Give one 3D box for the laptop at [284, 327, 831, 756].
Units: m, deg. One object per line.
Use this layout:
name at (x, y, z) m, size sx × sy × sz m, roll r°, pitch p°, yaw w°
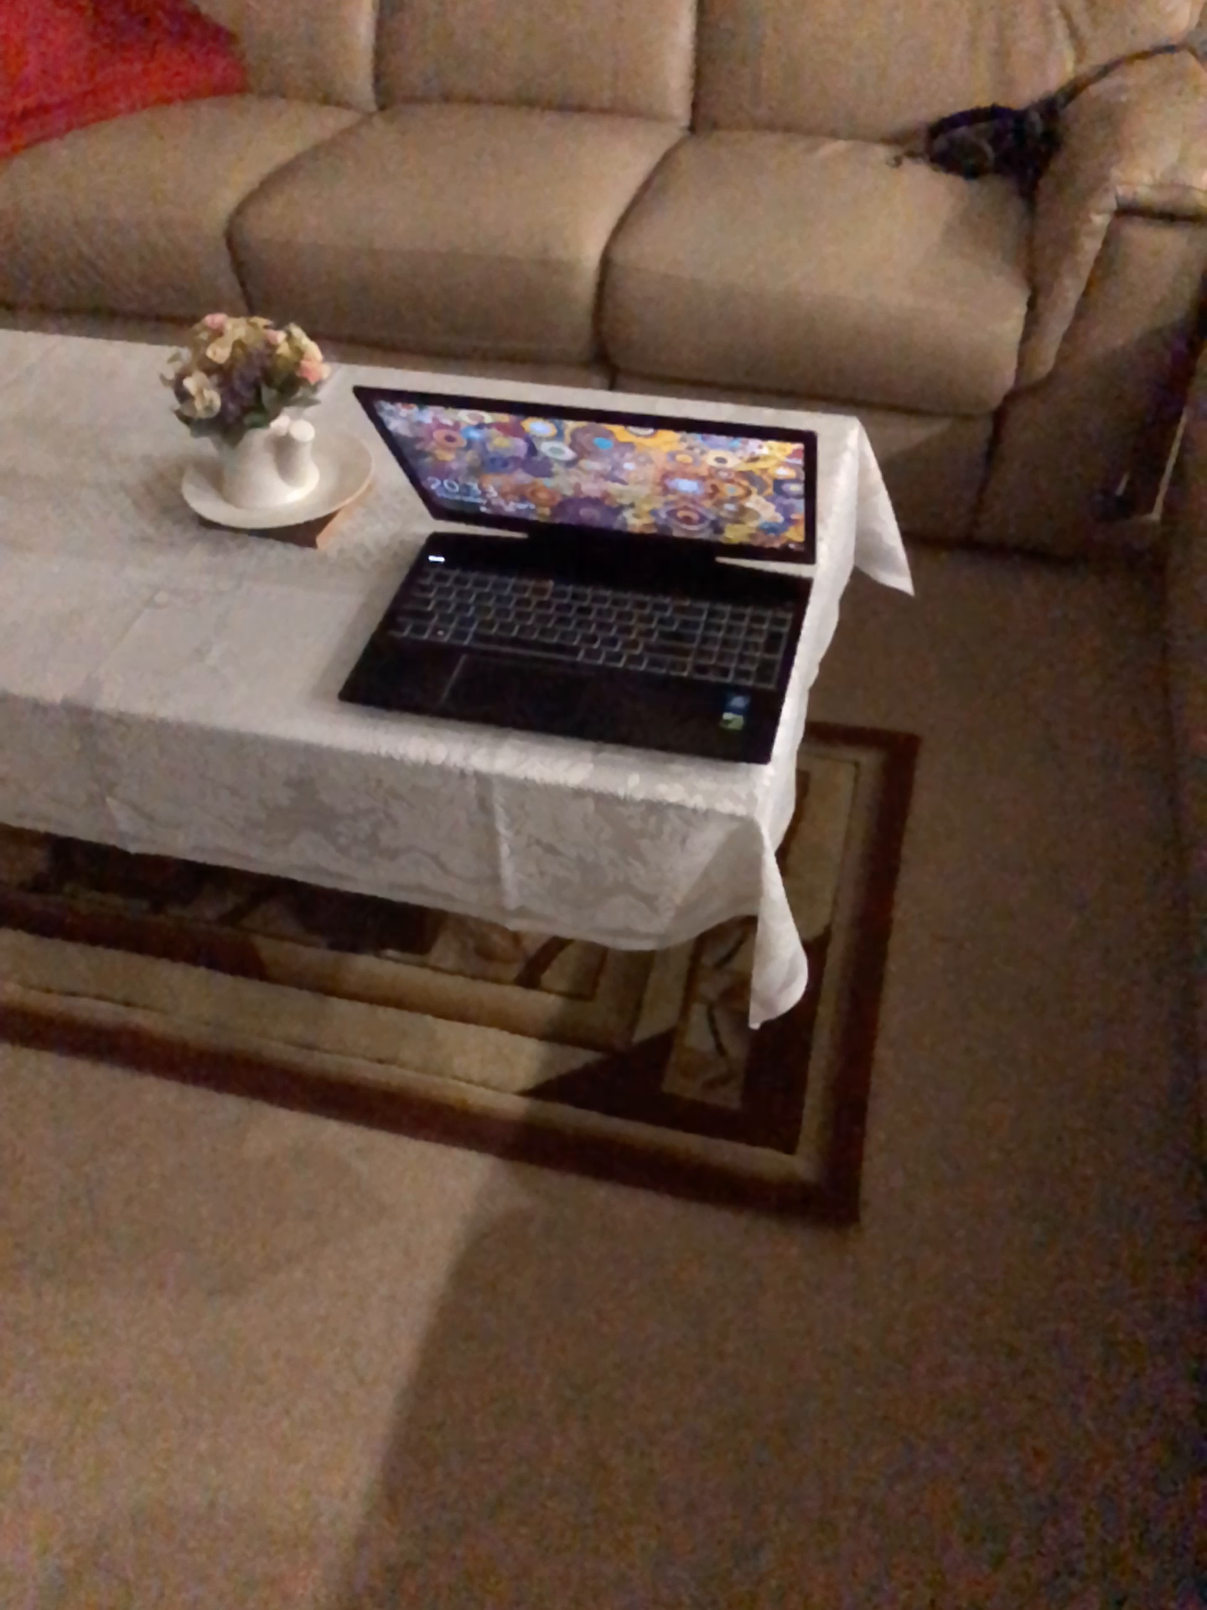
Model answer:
laptop at (-0.021, -0.218, 1.057) m, size 0.355 × 0.199 × 0.244 m, roll 9°, pitch 46°, yaw 11°
